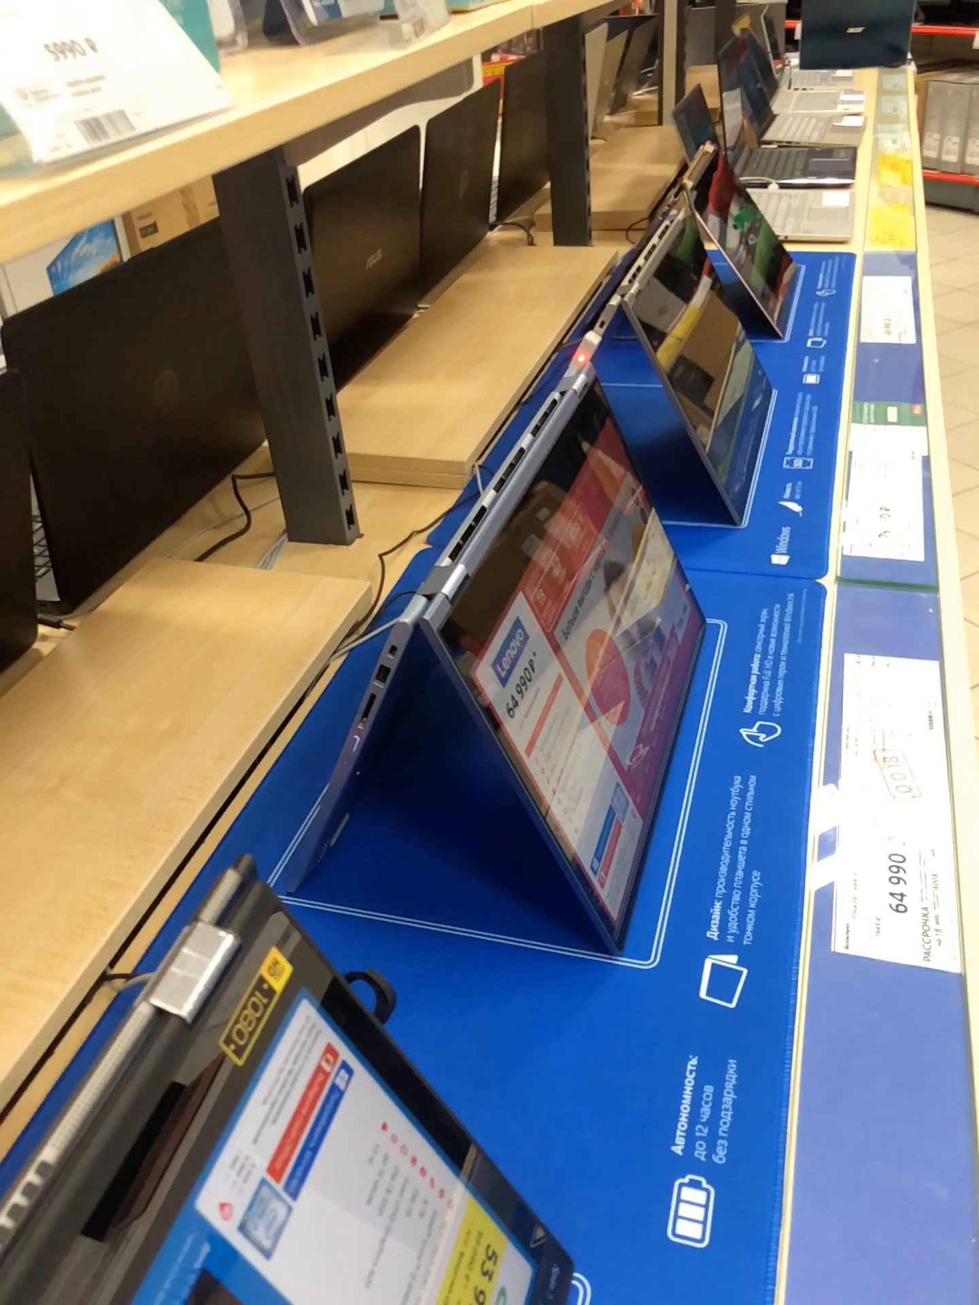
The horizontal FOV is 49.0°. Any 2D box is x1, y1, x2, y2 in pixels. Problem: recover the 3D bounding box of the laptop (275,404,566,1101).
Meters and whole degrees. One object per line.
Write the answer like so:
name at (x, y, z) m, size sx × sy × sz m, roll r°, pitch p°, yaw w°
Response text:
laptop at (-0.033, 0.067, 0.742) m, size 0.221 × 0.157 × 0.307 m, roll -32°, pitch 18°, yaw 30°
